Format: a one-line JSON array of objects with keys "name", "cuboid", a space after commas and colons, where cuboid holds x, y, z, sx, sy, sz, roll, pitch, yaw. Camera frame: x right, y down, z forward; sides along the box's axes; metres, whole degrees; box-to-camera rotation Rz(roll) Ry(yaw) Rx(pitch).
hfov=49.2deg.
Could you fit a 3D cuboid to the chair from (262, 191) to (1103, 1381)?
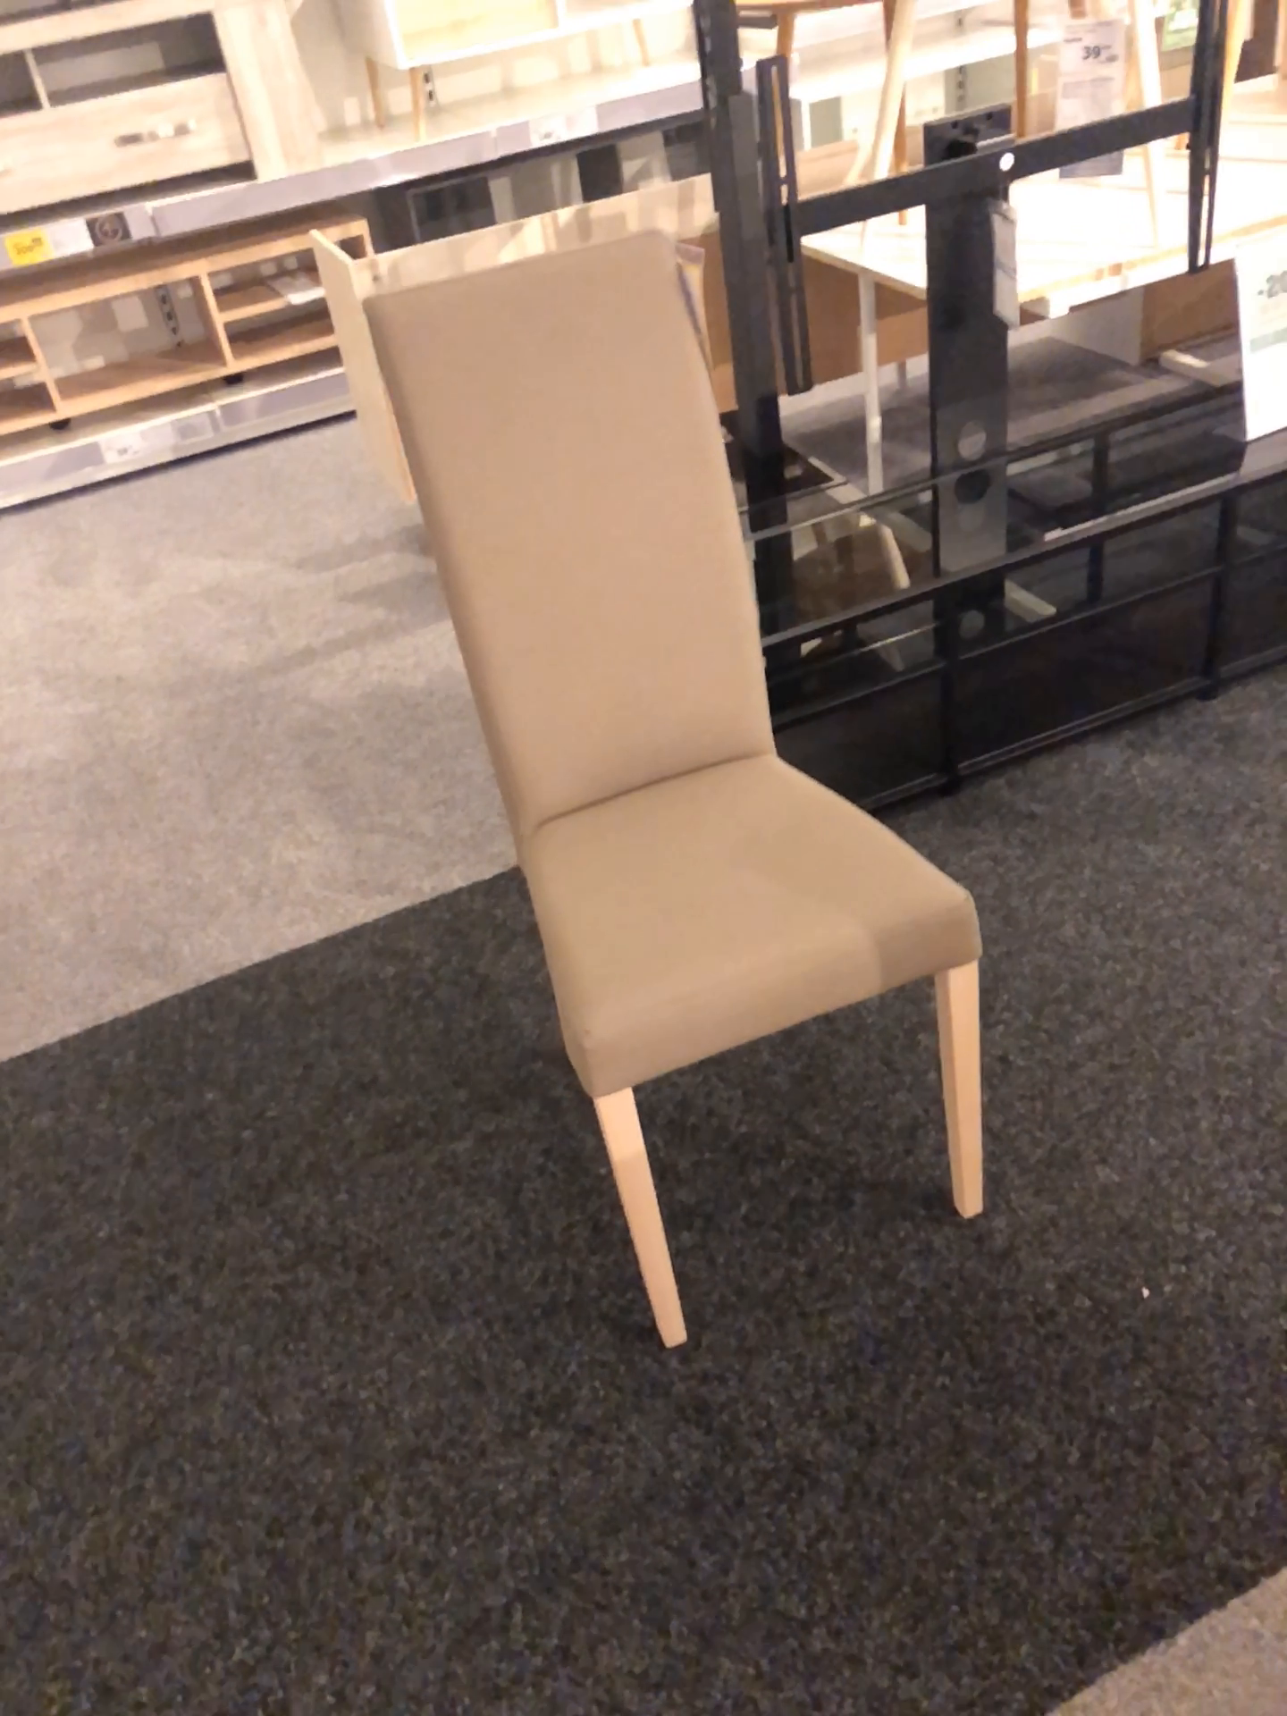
[{"name": "chair", "cuboid": [0.042, -0.087, 1.470, 0.531, 0.945, 0.633, -18, 36, -11]}]
